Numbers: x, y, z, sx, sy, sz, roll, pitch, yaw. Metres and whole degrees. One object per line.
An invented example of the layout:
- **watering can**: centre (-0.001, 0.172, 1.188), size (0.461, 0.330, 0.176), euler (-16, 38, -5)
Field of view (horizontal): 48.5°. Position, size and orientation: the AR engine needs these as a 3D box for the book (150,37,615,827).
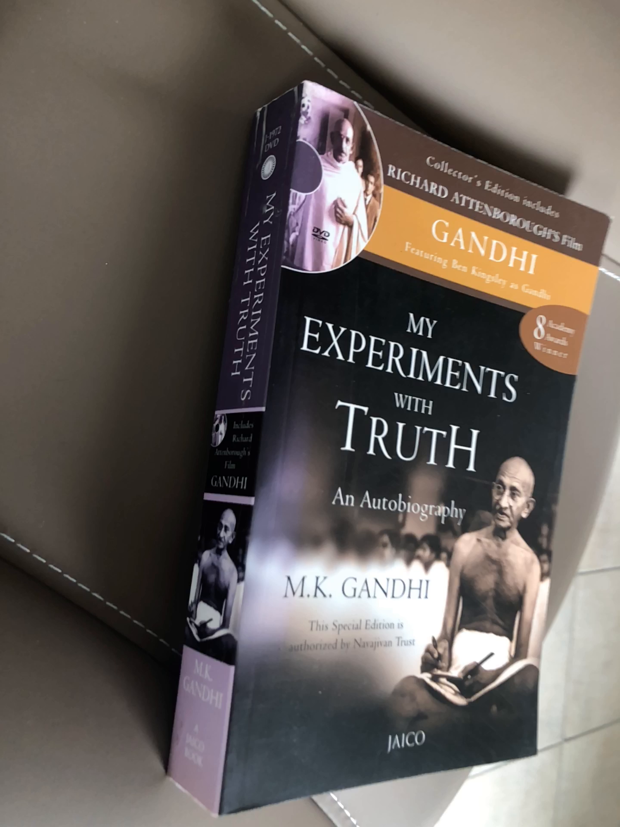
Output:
- **book**: centre (0.039, 0.016, 0.260), size (0.151, 0.050, 0.240), euler (11, 83, -33)
